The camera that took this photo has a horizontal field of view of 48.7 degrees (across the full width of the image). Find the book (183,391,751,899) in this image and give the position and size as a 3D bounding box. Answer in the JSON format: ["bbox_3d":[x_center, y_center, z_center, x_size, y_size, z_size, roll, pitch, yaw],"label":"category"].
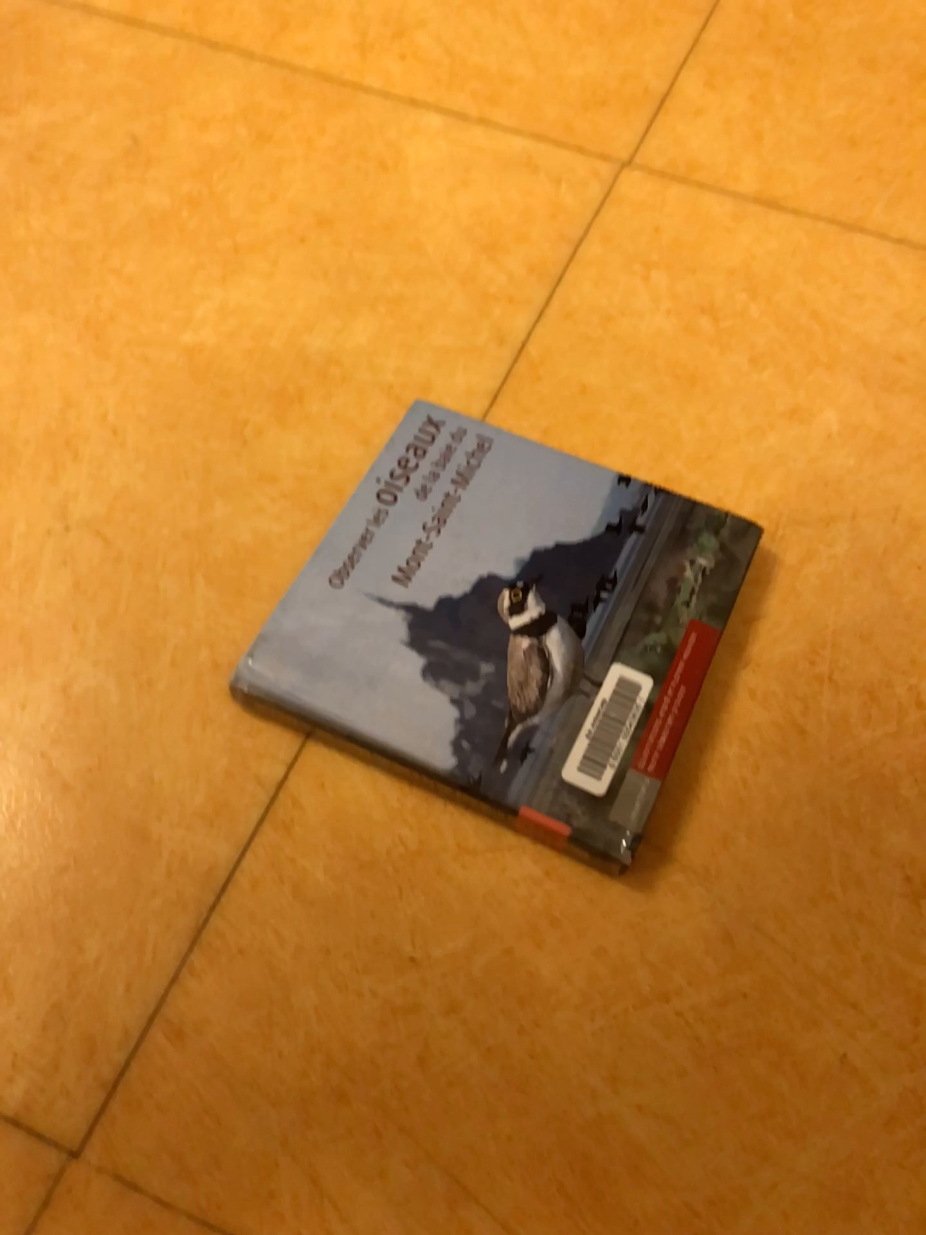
[{"bbox_3d":[0.007,-0.001,0.378,0.156,0.015,0.153,23,61,12],"label":"book"}]
